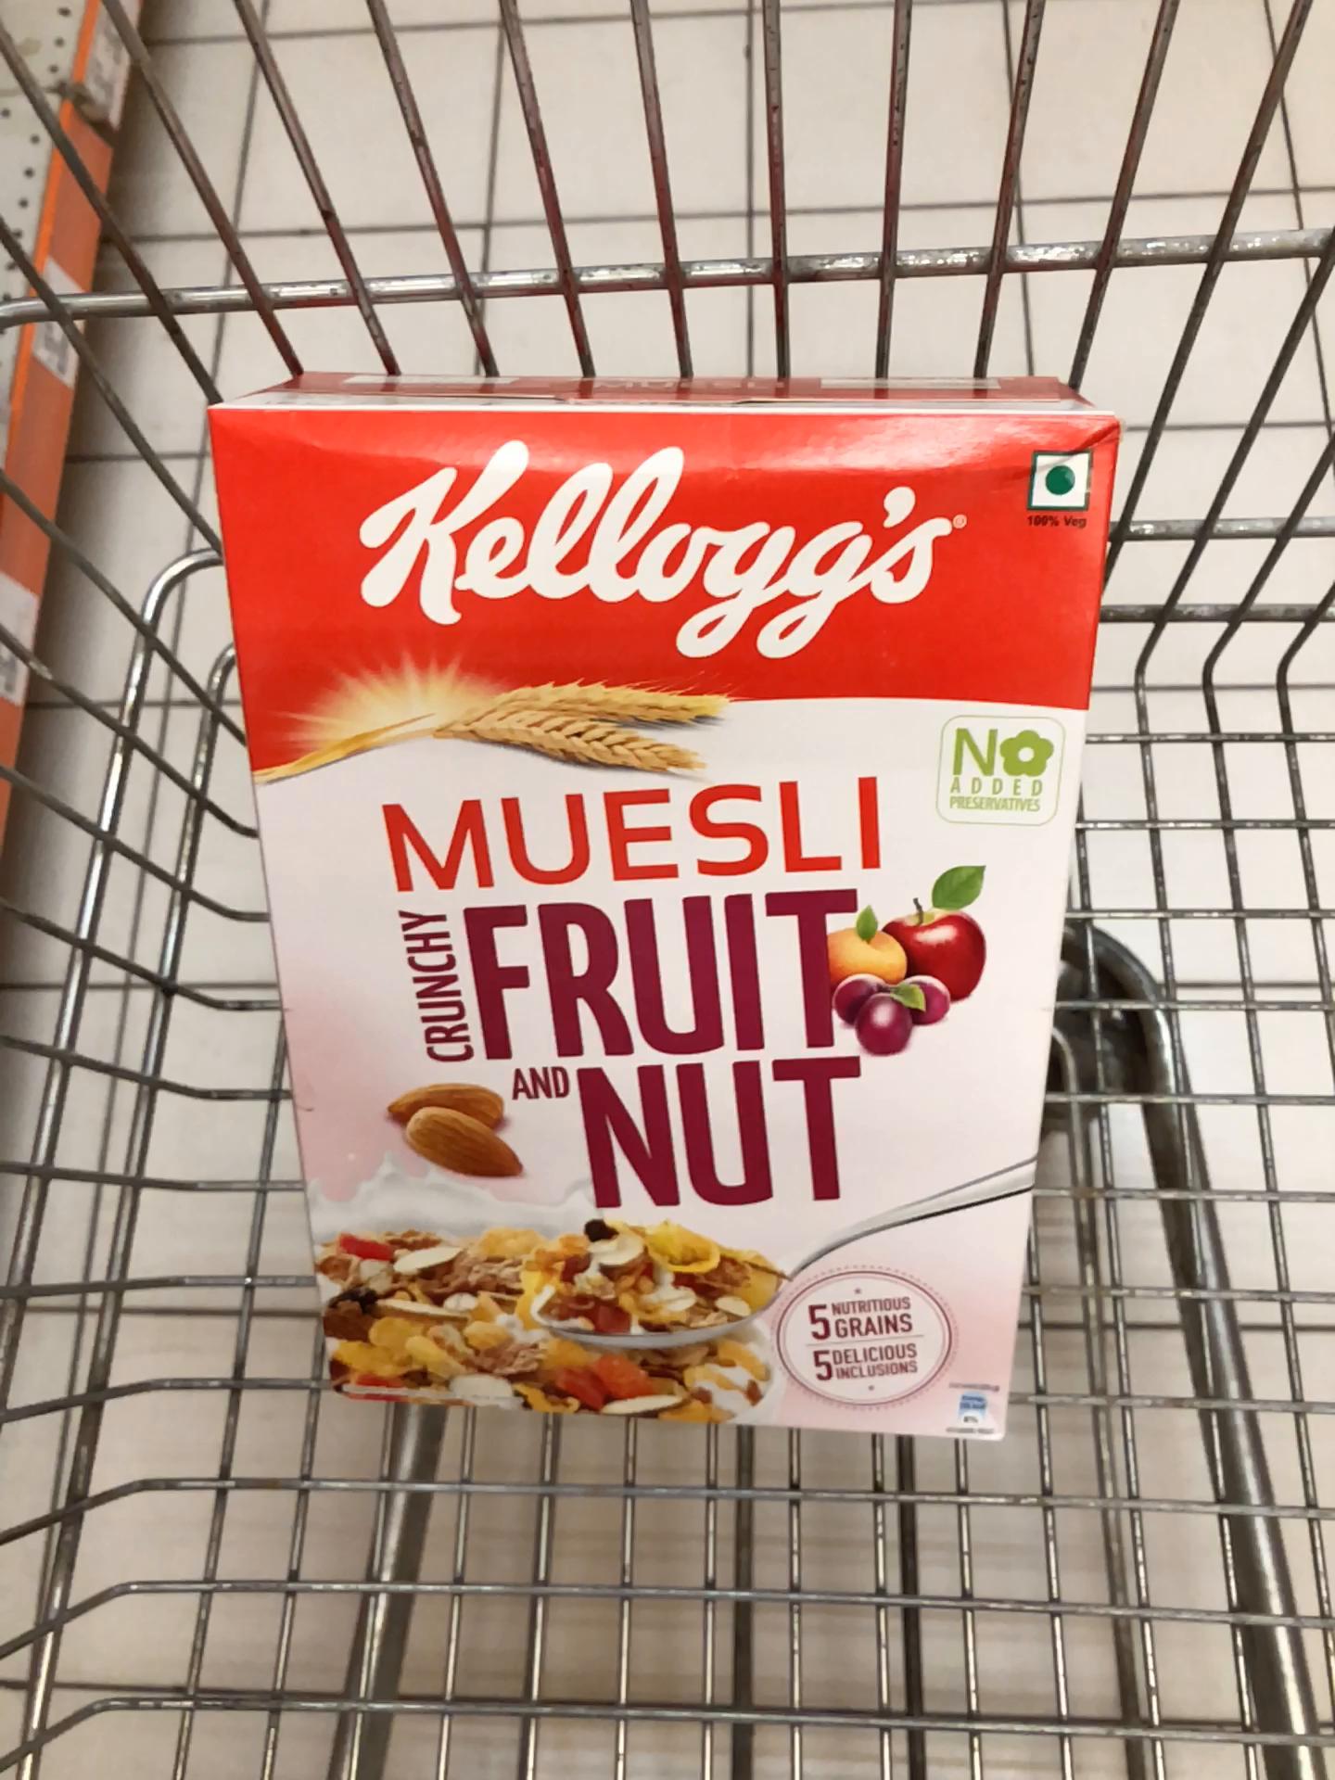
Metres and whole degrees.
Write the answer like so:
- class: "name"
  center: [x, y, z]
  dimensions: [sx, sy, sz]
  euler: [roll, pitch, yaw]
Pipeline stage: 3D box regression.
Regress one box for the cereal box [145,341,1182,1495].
- class: "cereal box"
  center: [0.000, 0.014, 0.361]
  dimensions: [0.190, 0.070, 0.269]
  euler: [3, 116, 5]
